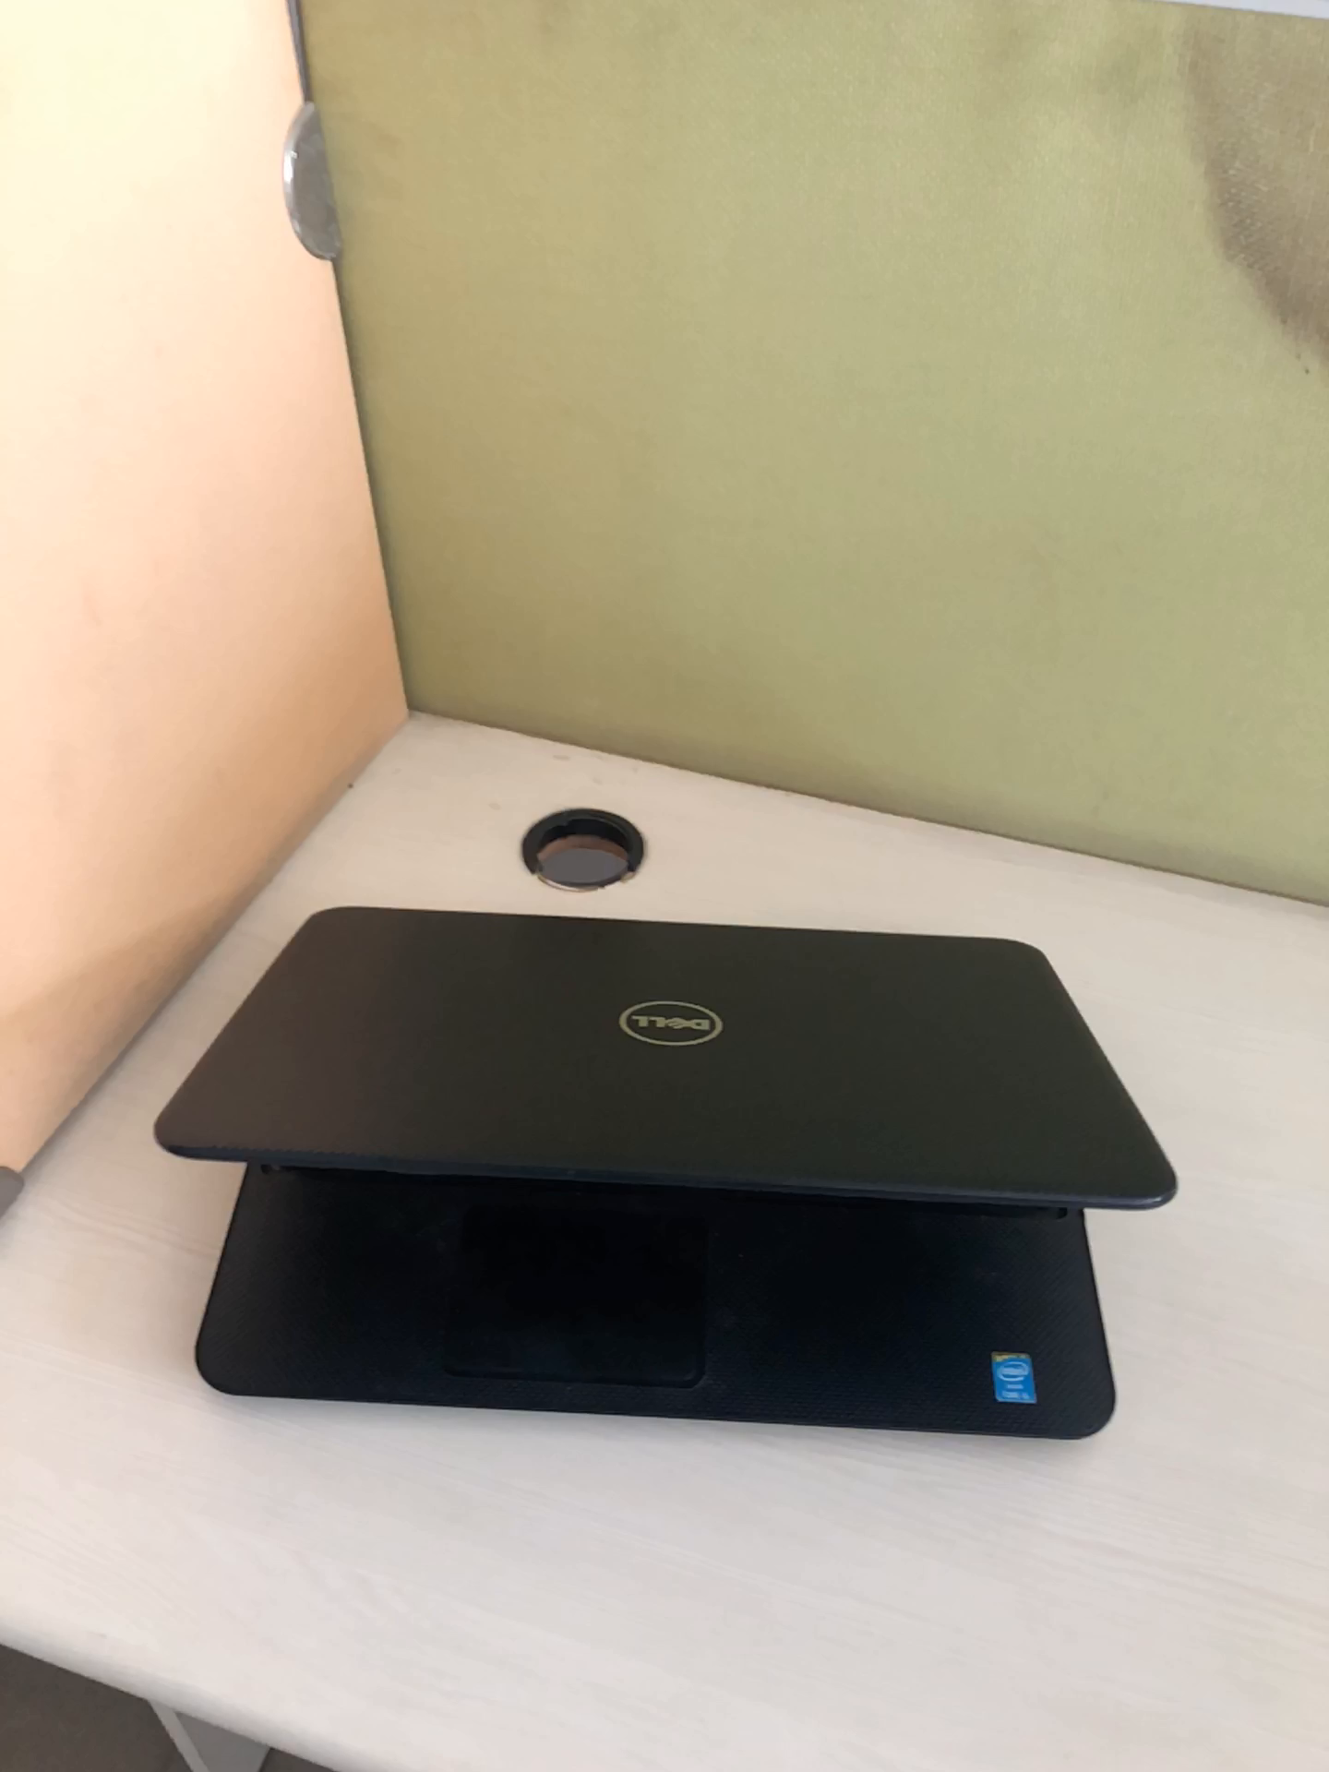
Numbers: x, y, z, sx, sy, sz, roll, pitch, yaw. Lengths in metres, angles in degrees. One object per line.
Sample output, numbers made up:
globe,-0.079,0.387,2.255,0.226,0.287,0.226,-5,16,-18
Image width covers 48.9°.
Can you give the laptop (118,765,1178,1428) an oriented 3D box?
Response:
laptop,-0.002,0.078,0.628,0.366,0.106,0.248,3,45,1
